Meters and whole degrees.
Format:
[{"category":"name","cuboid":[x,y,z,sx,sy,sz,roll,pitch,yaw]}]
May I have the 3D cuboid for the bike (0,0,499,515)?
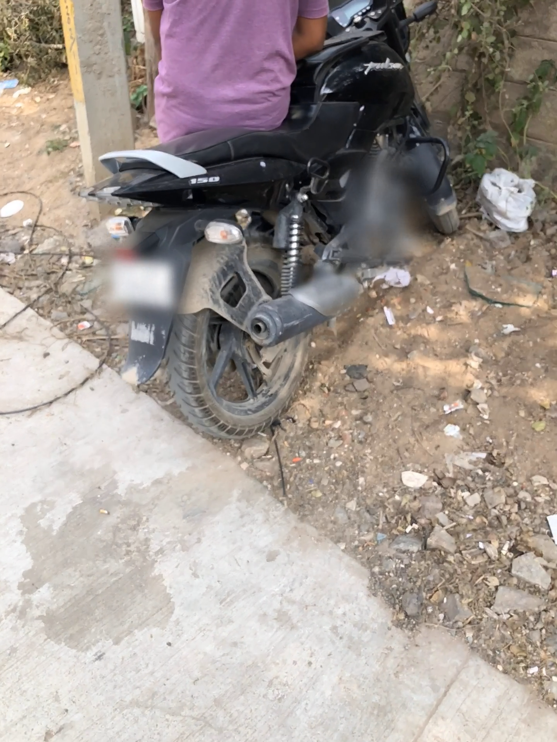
[{"category":"bike","cuboid":[0.035,-0.775,2.056,0.813,1.215,1.824,16,44,20]}]
